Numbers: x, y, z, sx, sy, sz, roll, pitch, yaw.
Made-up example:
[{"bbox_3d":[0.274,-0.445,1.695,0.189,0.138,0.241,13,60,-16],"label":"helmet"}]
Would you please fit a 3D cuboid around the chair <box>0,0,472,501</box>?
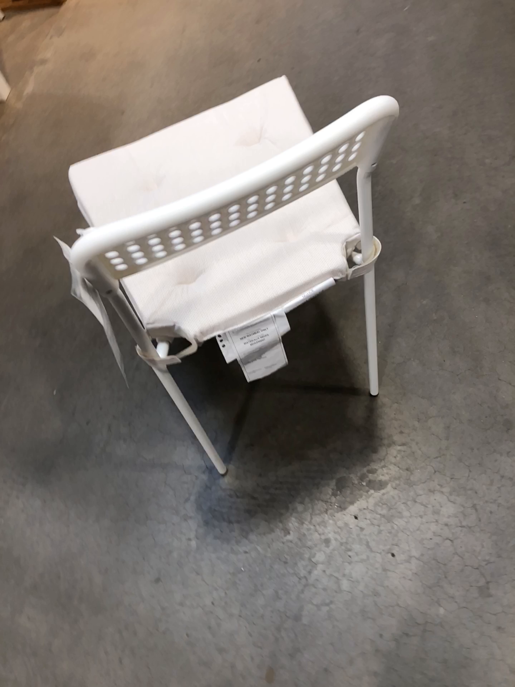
[{"bbox_3d":[-0.084,-0.170,0.943,0.480,0.739,0.531,-28,62,-6],"label":"chair"}]
